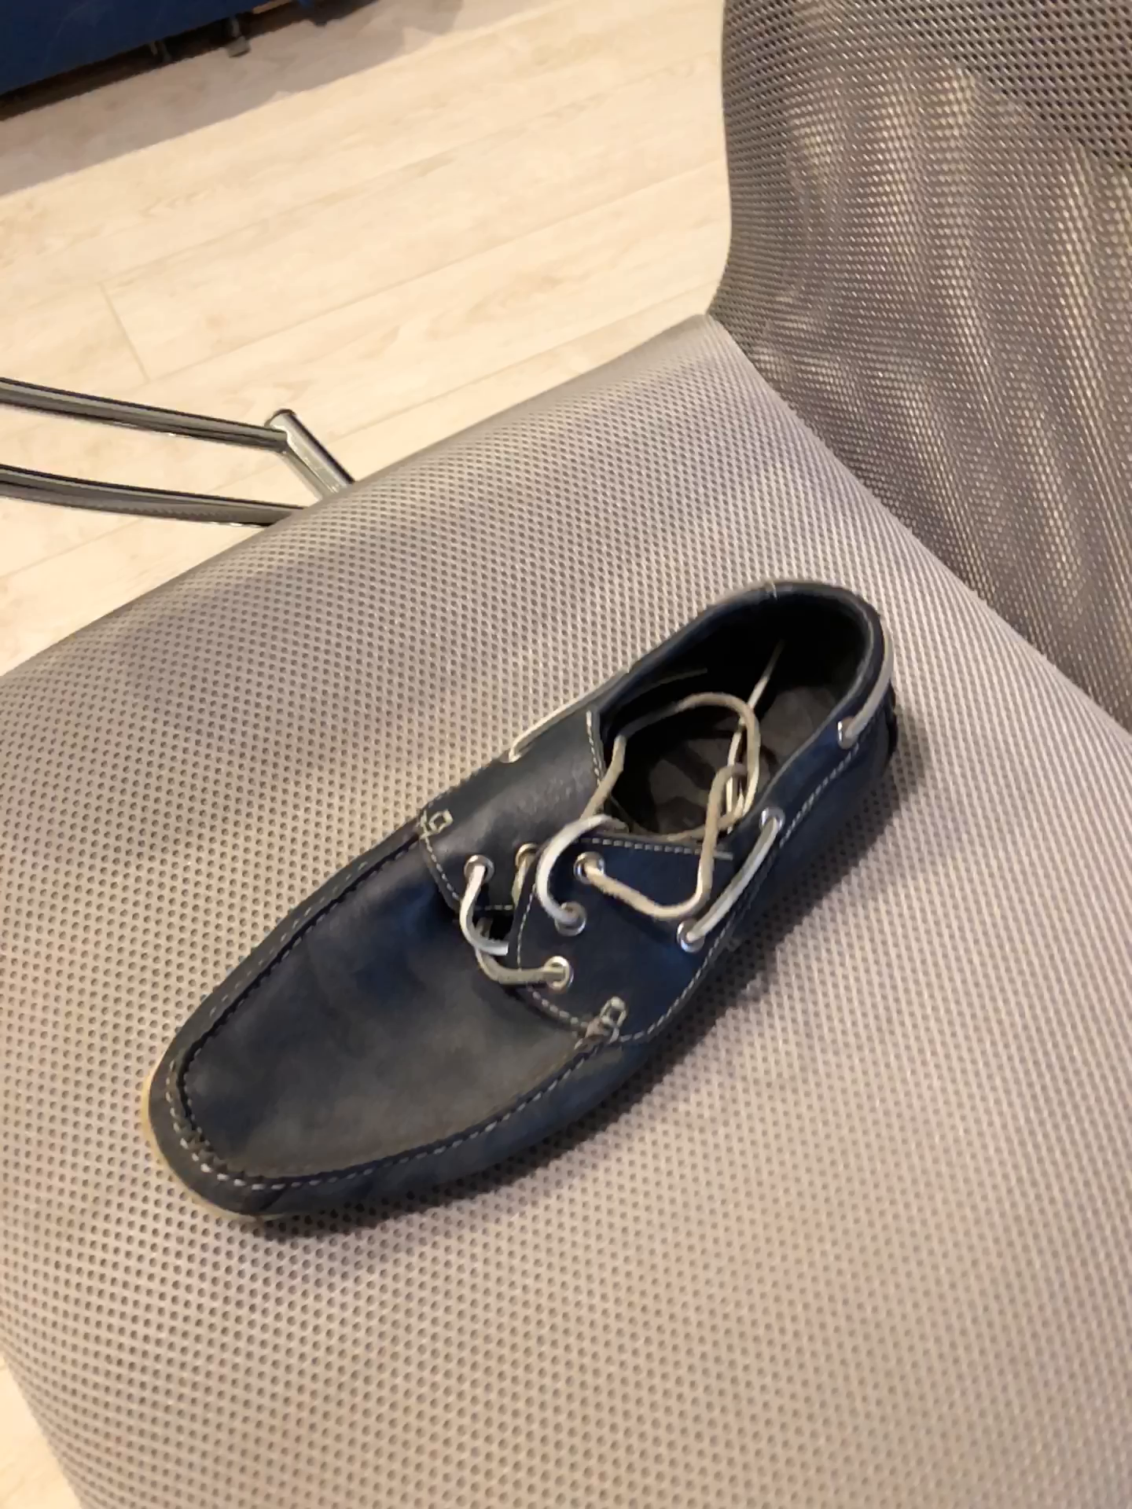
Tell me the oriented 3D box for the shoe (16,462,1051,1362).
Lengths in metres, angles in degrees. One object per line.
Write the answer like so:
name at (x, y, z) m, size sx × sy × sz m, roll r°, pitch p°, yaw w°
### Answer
shoe at (-0.001, 0.046, 0.408) m, size 0.291 × 0.100 × 0.120 m, roll -35°, pitch 67°, yaw -15°
